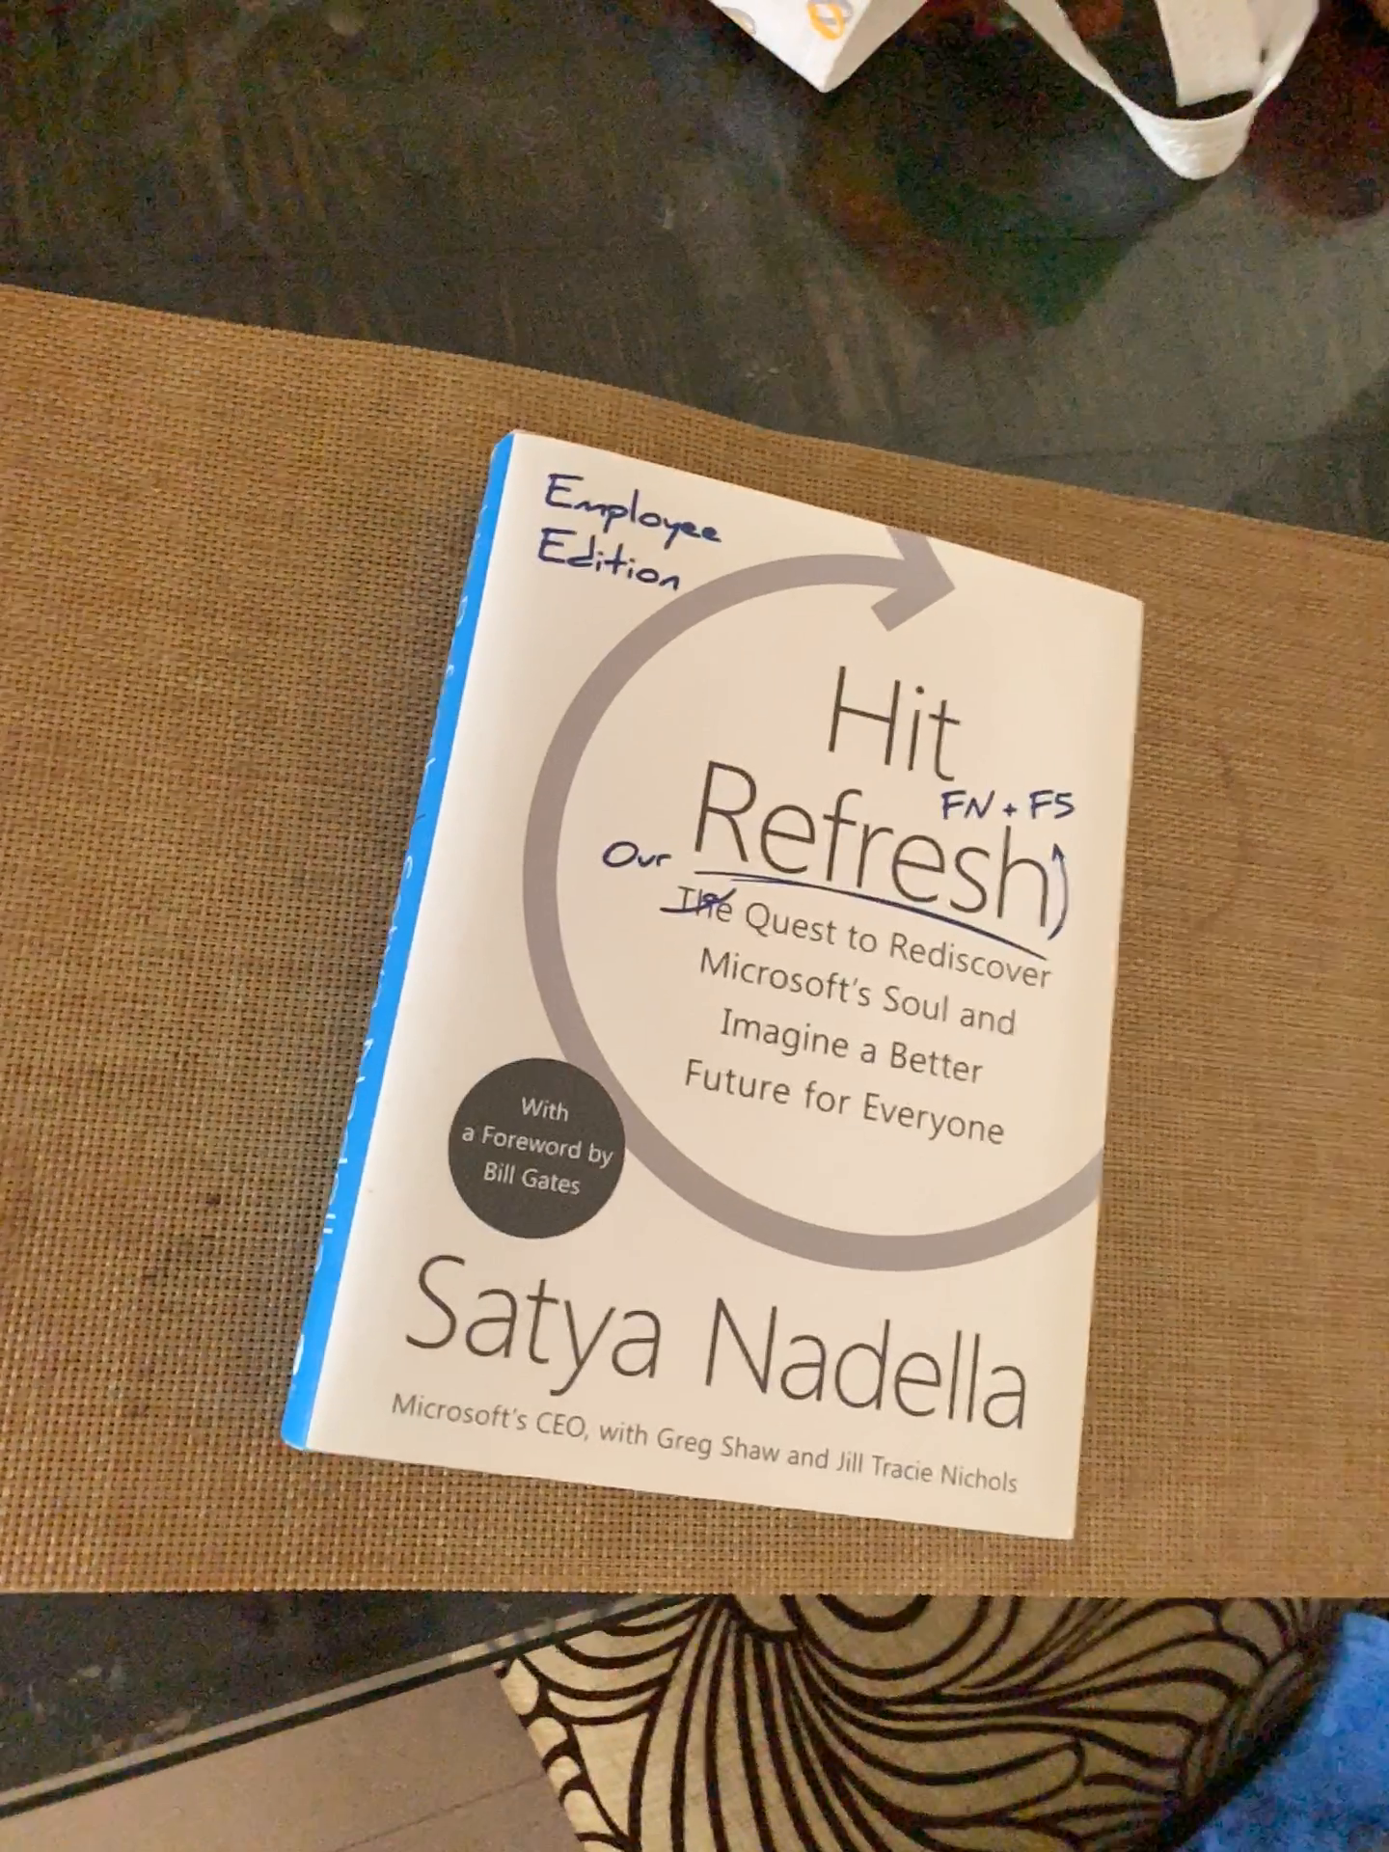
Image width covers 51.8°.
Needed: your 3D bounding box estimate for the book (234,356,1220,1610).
[{"bbox_3d":[0.020,0.011,0.338,0.190,0.040,0.250,13,74,-11],"label":"book"}]
